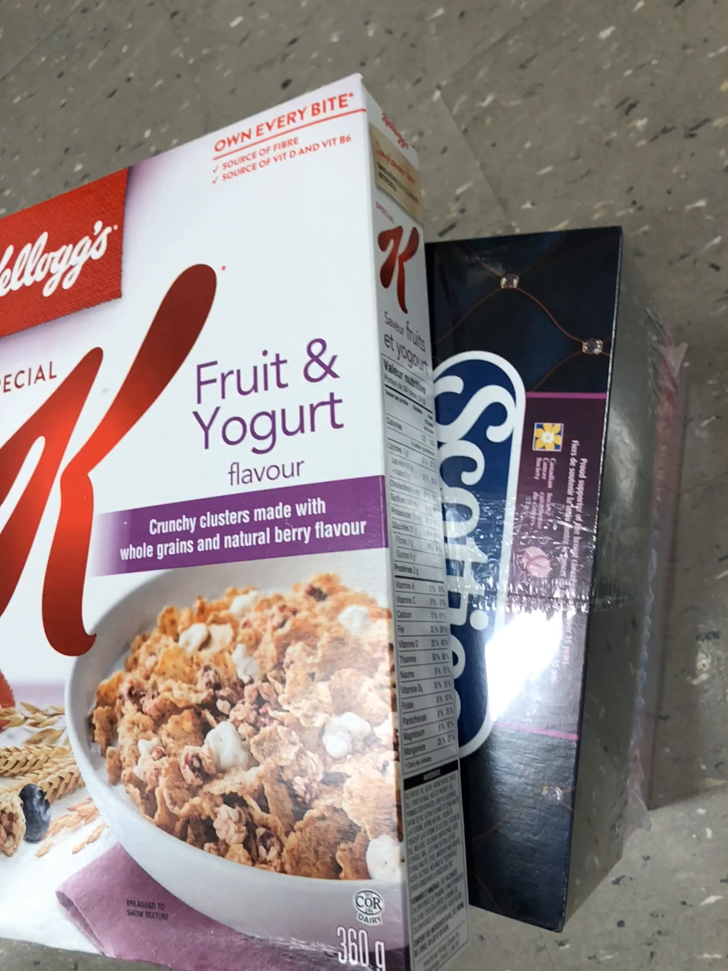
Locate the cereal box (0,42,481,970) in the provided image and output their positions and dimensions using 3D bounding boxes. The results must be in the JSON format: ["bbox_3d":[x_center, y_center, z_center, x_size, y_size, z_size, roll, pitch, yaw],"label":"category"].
[{"bbox_3d":[-0.074,0.013,0.296,0.211,0.050,0.280,-8,75,27],"label":"cereal box"}]
